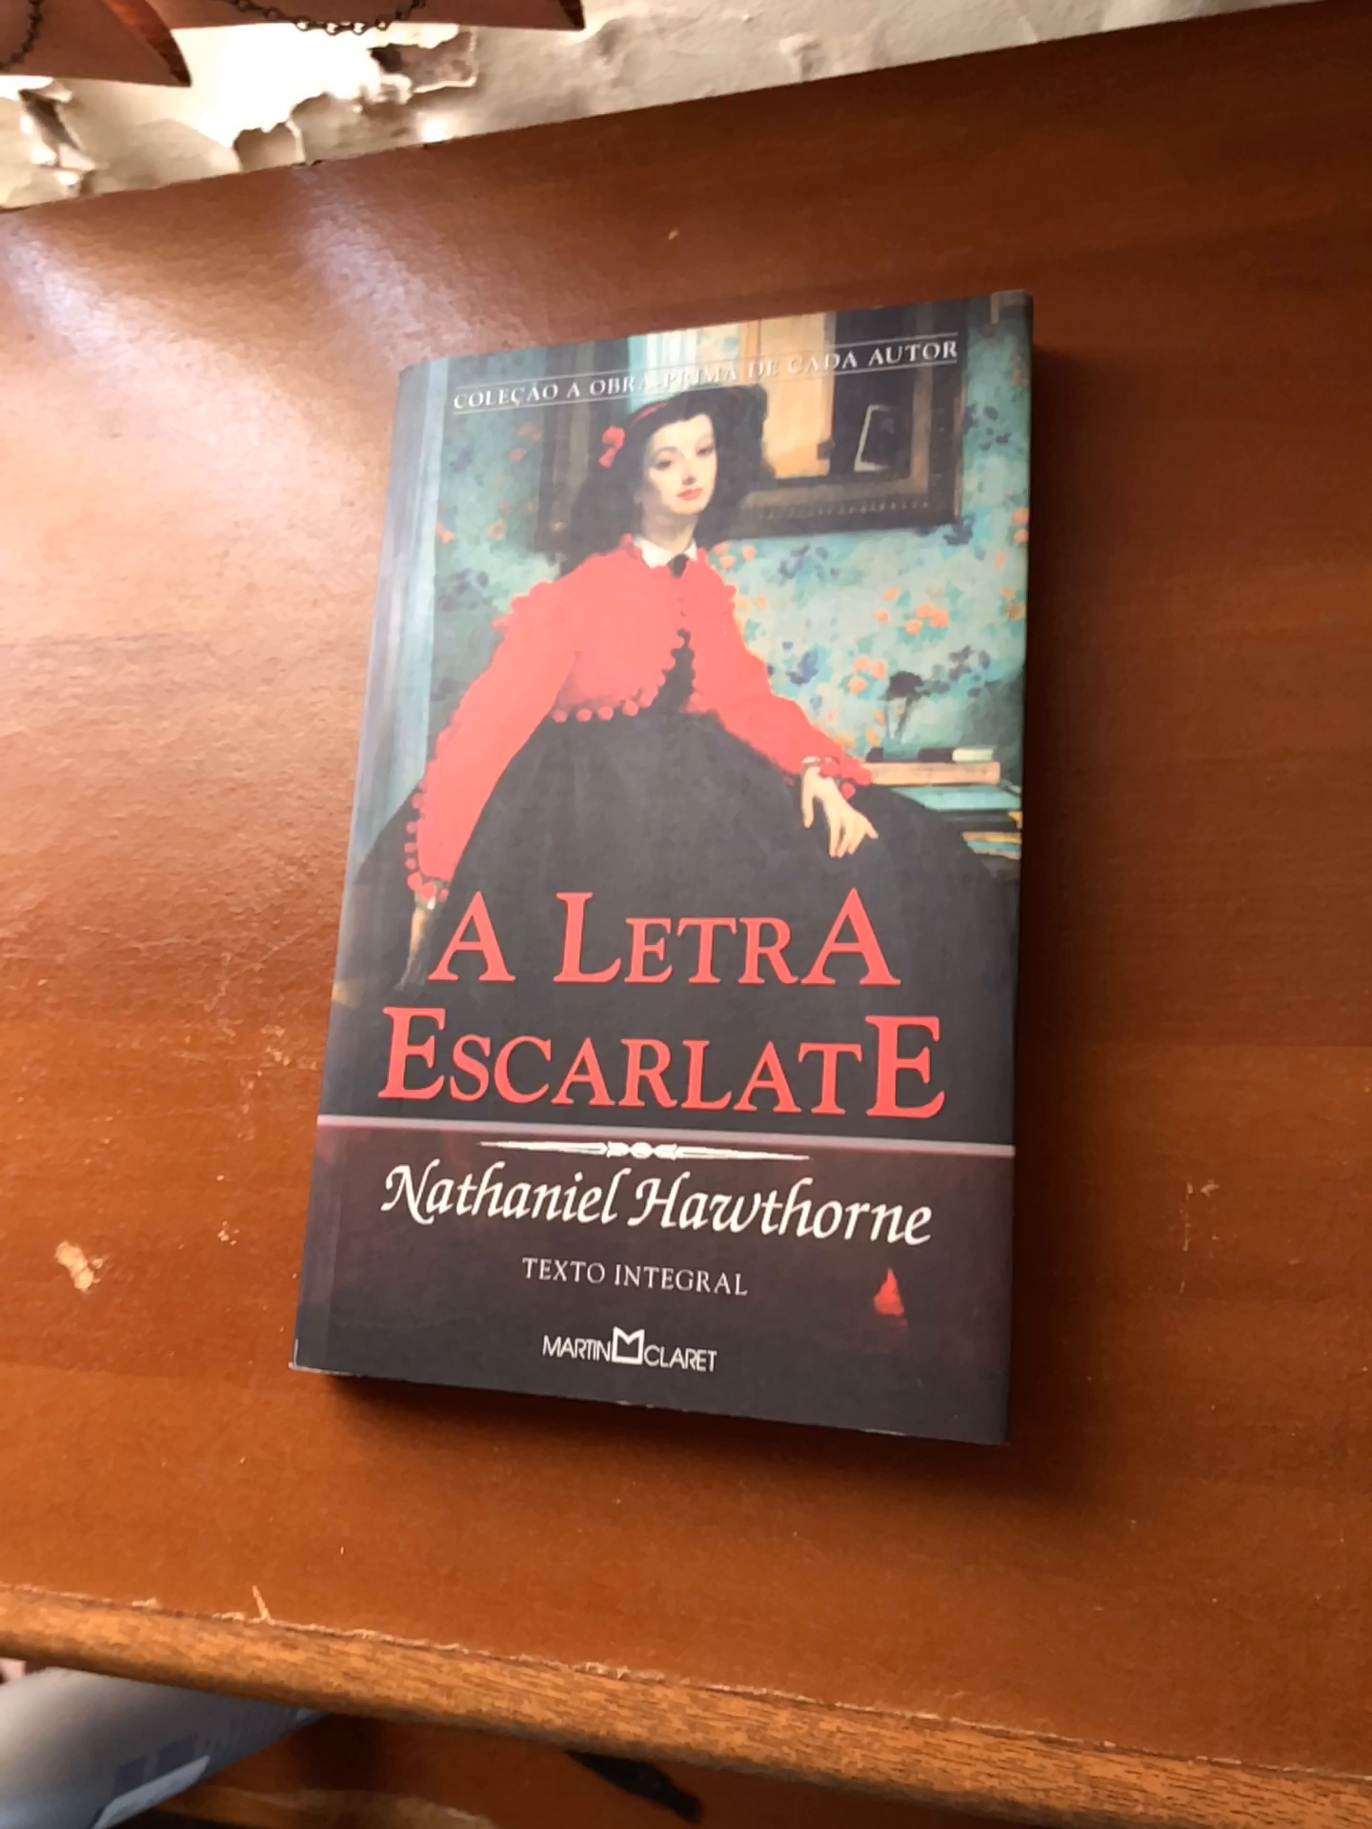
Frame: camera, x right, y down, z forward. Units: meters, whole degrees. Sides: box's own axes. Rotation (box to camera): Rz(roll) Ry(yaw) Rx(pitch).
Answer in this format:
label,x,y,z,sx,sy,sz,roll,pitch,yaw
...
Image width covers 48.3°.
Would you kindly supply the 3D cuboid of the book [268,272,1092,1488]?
label,x,y,z,sx,sy,sz,roll,pitch,yaw
book,0.001,-0.010,0.228,0.111,0.015,0.166,0,77,19
